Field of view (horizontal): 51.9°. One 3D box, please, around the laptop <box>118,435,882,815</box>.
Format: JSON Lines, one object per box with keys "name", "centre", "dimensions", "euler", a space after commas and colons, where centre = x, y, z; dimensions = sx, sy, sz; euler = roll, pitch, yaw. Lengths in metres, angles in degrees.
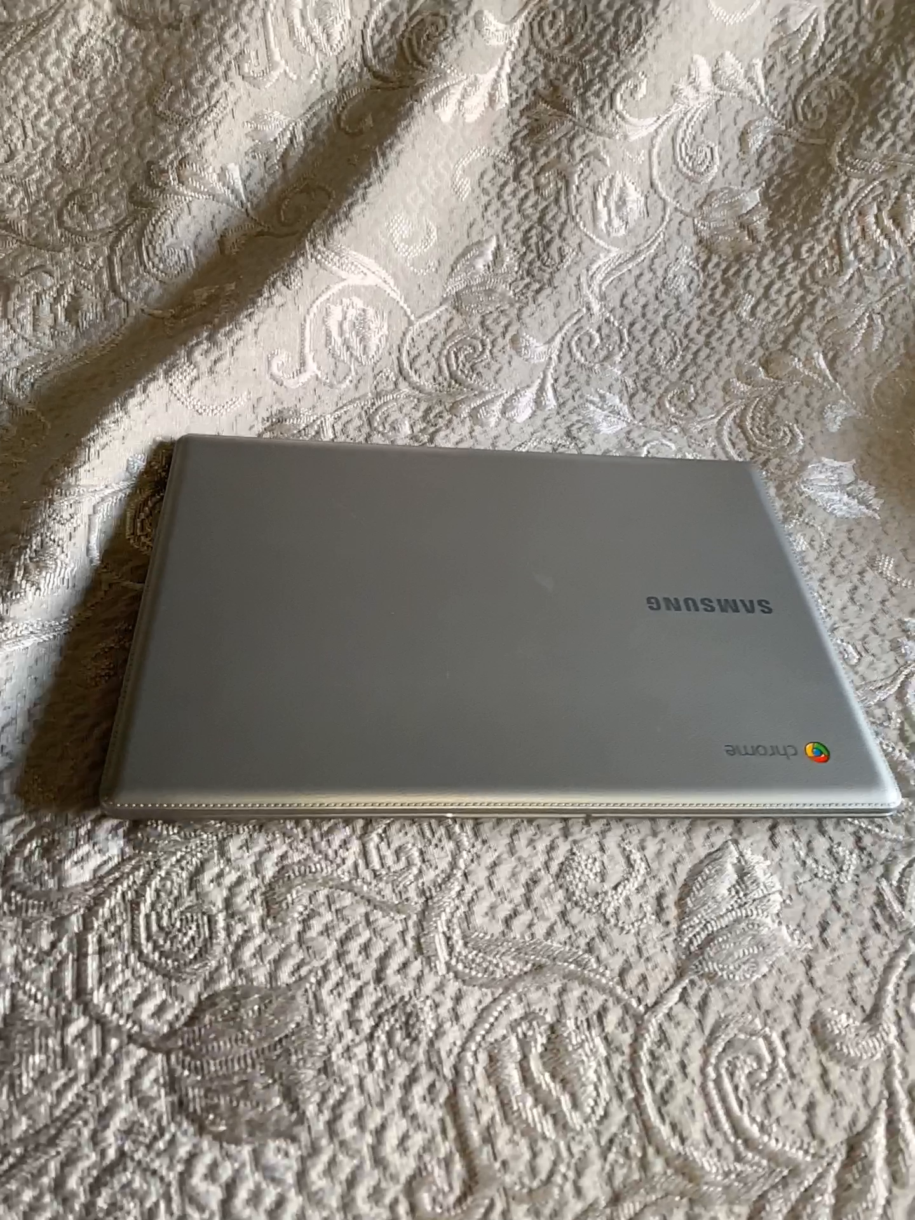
{"name": "laptop", "centre": [0.015, -0.002, 0.375], "dimensions": [0.264, 0.005, 0.176], "euler": [1, 52, -8]}
